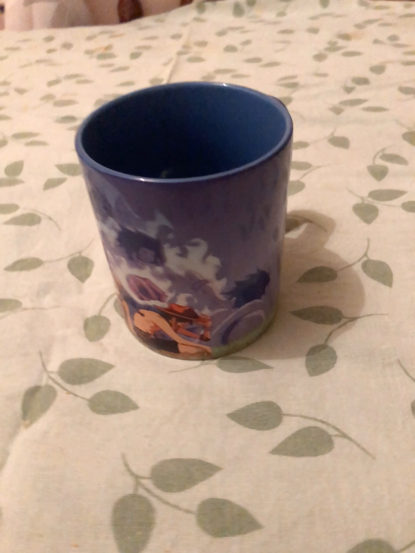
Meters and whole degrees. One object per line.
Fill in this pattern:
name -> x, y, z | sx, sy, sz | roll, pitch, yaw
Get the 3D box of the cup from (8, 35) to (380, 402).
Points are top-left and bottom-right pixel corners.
cup -> 0.002, -0.035, 0.216 | 0.090, 0.099, 0.121 | 27, 51, 29
